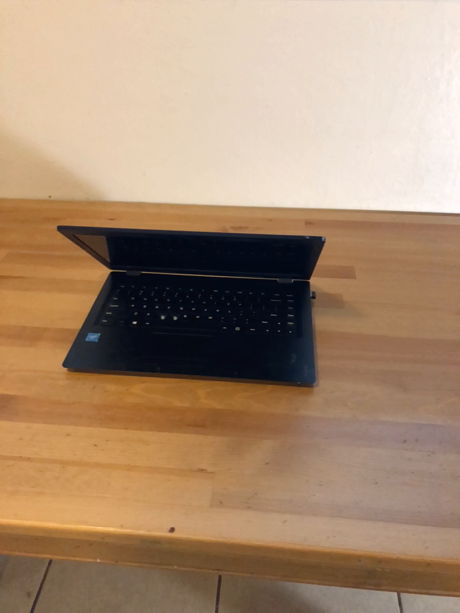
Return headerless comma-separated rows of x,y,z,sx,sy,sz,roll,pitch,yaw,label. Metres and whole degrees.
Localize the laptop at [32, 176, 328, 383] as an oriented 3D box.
-0.045,-0.046,0.669,0.316,0.161,0.217,3,38,5,laptop
